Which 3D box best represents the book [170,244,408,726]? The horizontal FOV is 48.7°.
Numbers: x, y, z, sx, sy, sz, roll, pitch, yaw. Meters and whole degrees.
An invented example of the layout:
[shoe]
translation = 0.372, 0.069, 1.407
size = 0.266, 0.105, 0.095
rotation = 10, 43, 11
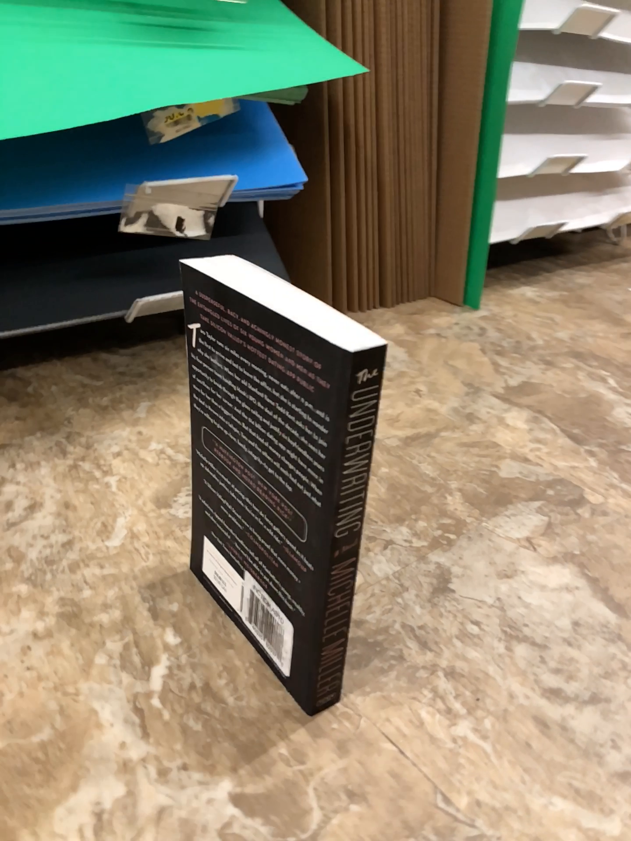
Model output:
[book]
translation = -0.026, 0.029, 0.359
size = 0.035, 0.203, 0.140
rotation = -15, 33, -33
